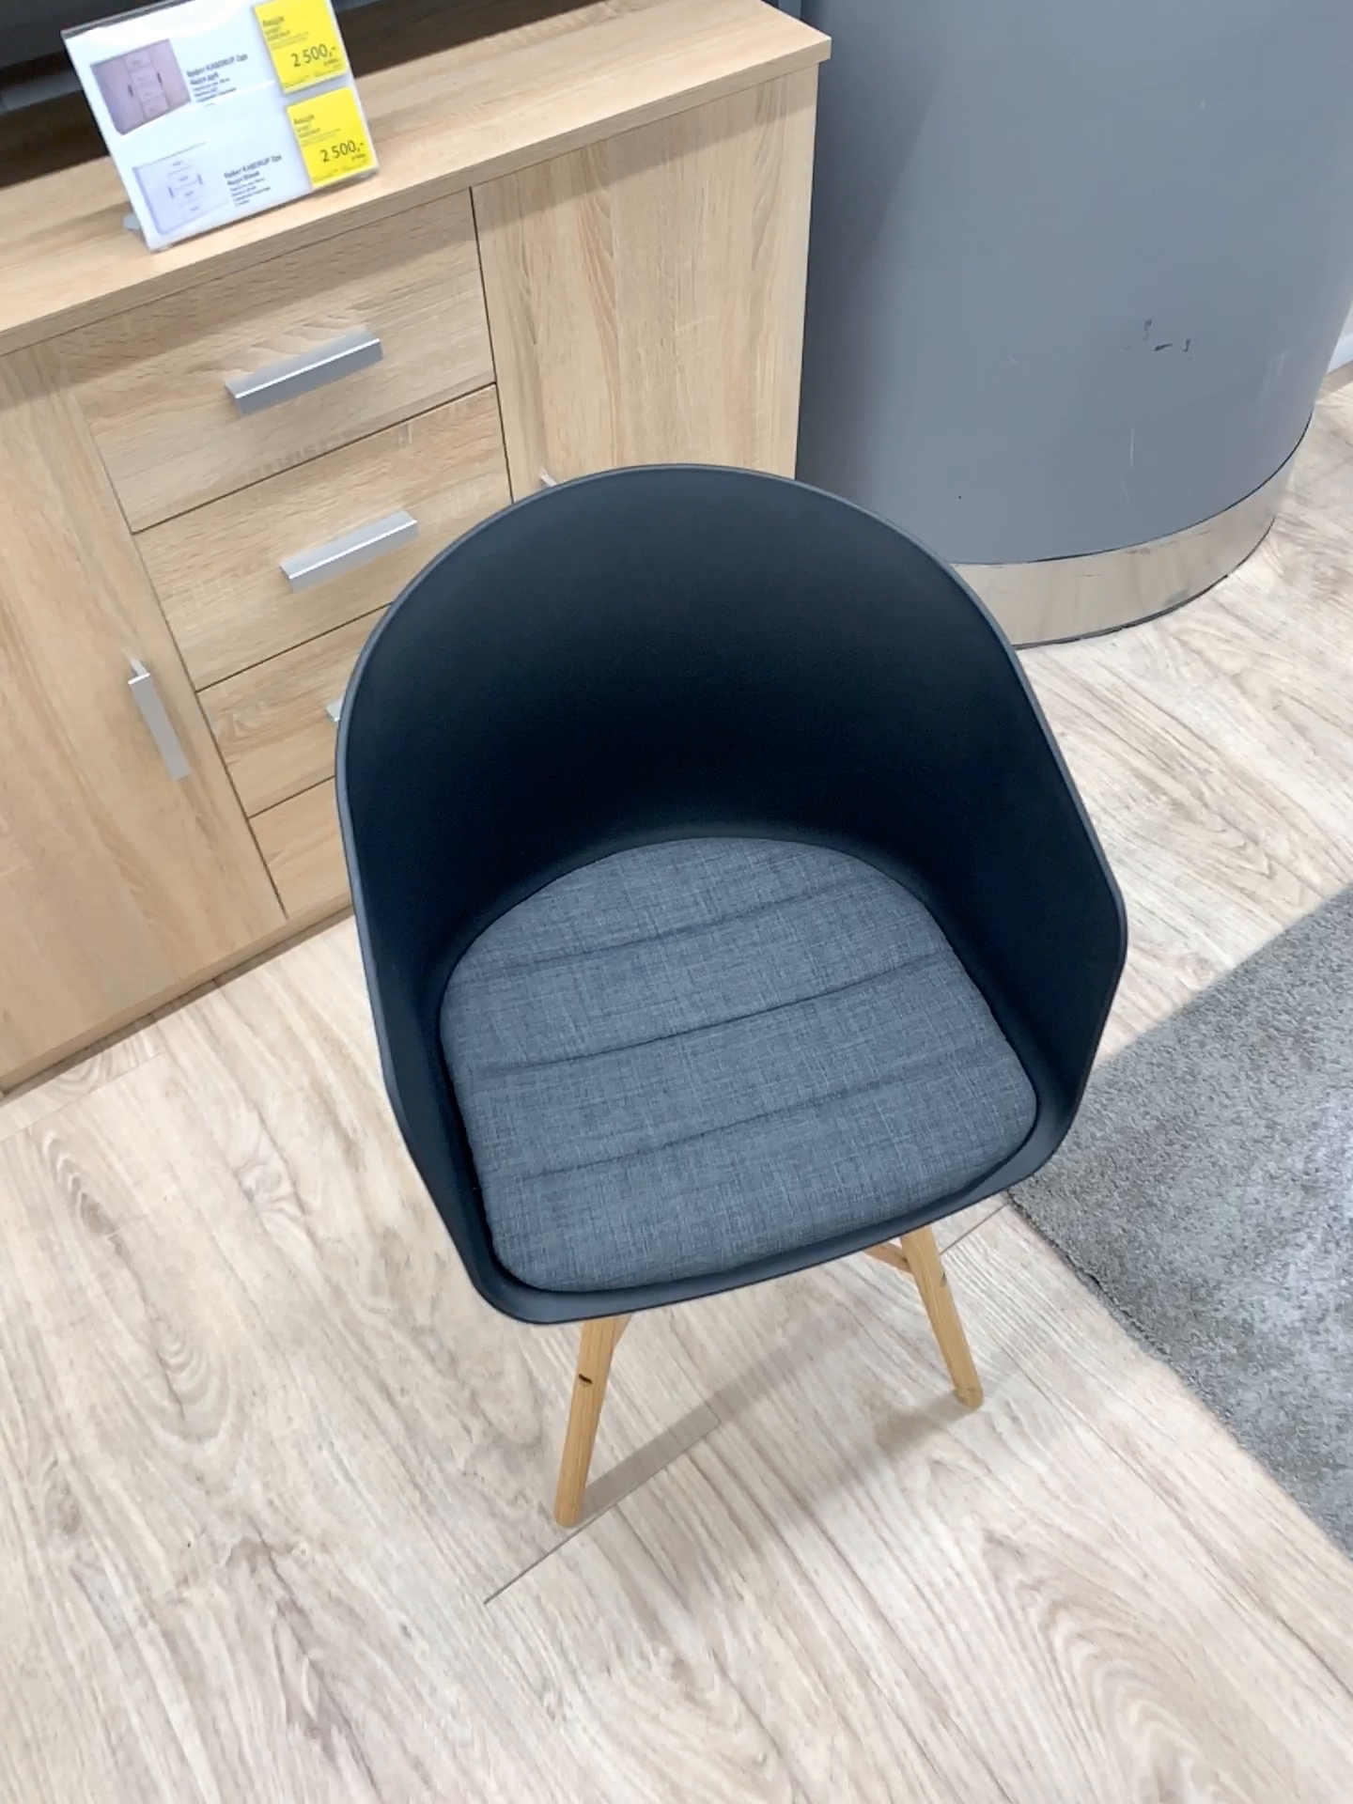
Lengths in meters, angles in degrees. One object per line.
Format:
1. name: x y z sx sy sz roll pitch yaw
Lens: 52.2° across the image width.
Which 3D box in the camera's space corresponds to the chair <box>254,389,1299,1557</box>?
1. chair: 0.029 0.108 1.196 0.510 0.787 0.552 -15 54 -9
